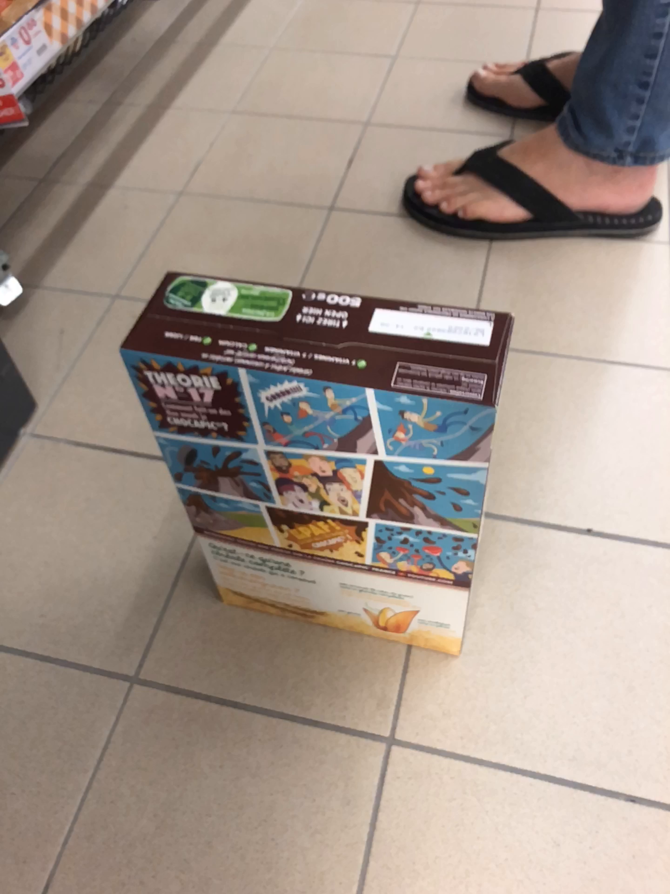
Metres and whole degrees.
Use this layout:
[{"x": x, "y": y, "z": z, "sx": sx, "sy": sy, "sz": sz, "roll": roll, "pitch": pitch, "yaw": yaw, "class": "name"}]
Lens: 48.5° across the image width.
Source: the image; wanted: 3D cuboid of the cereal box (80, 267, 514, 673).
[{"x": -0.006, "y": 0.034, "z": 0.472, "sx": 0.200, "sy": 0.288, "sz": 0.070, "roll": 8, "pitch": 53, "yaw": 13, "class": "cereal box"}]

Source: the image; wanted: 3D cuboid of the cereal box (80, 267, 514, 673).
[{"x": -0.006, "y": 0.034, "z": 0.472, "sx": 0.200, "sy": 0.288, "sz": 0.070, "roll": 8, "pitch": 53, "yaw": 13, "class": "cereal box"}]
